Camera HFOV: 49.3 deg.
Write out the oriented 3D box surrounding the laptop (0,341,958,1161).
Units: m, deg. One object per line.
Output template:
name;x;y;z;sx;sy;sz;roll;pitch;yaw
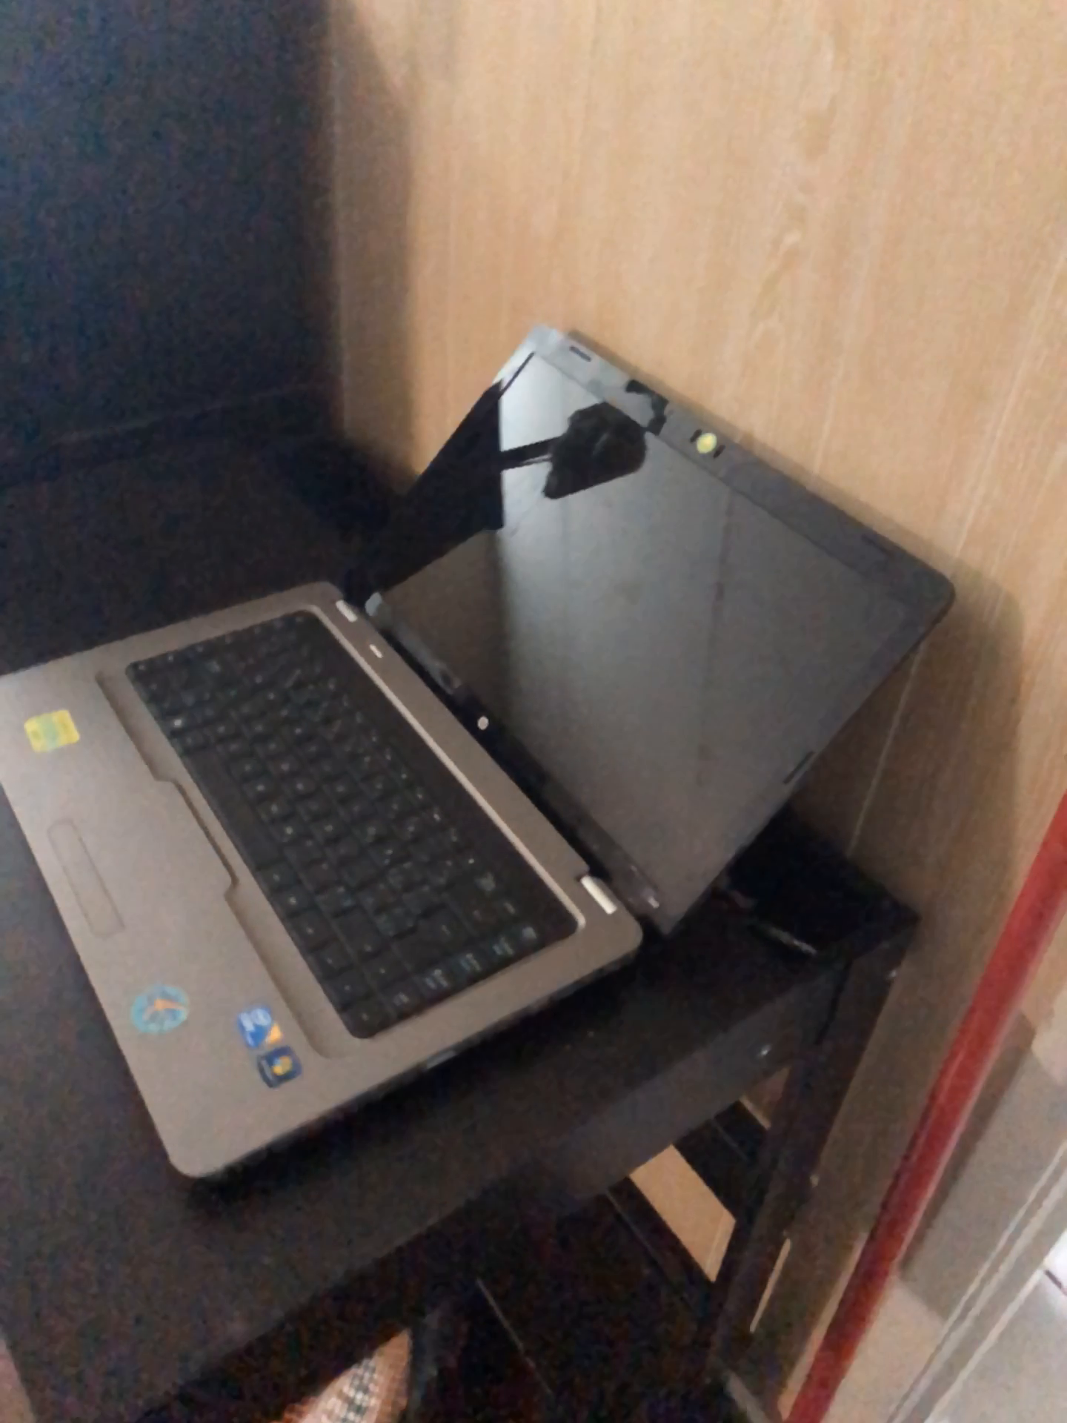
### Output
laptop;-0.064;-0.033;0.643;0.402;0.166;0.357;-20;44;-28
